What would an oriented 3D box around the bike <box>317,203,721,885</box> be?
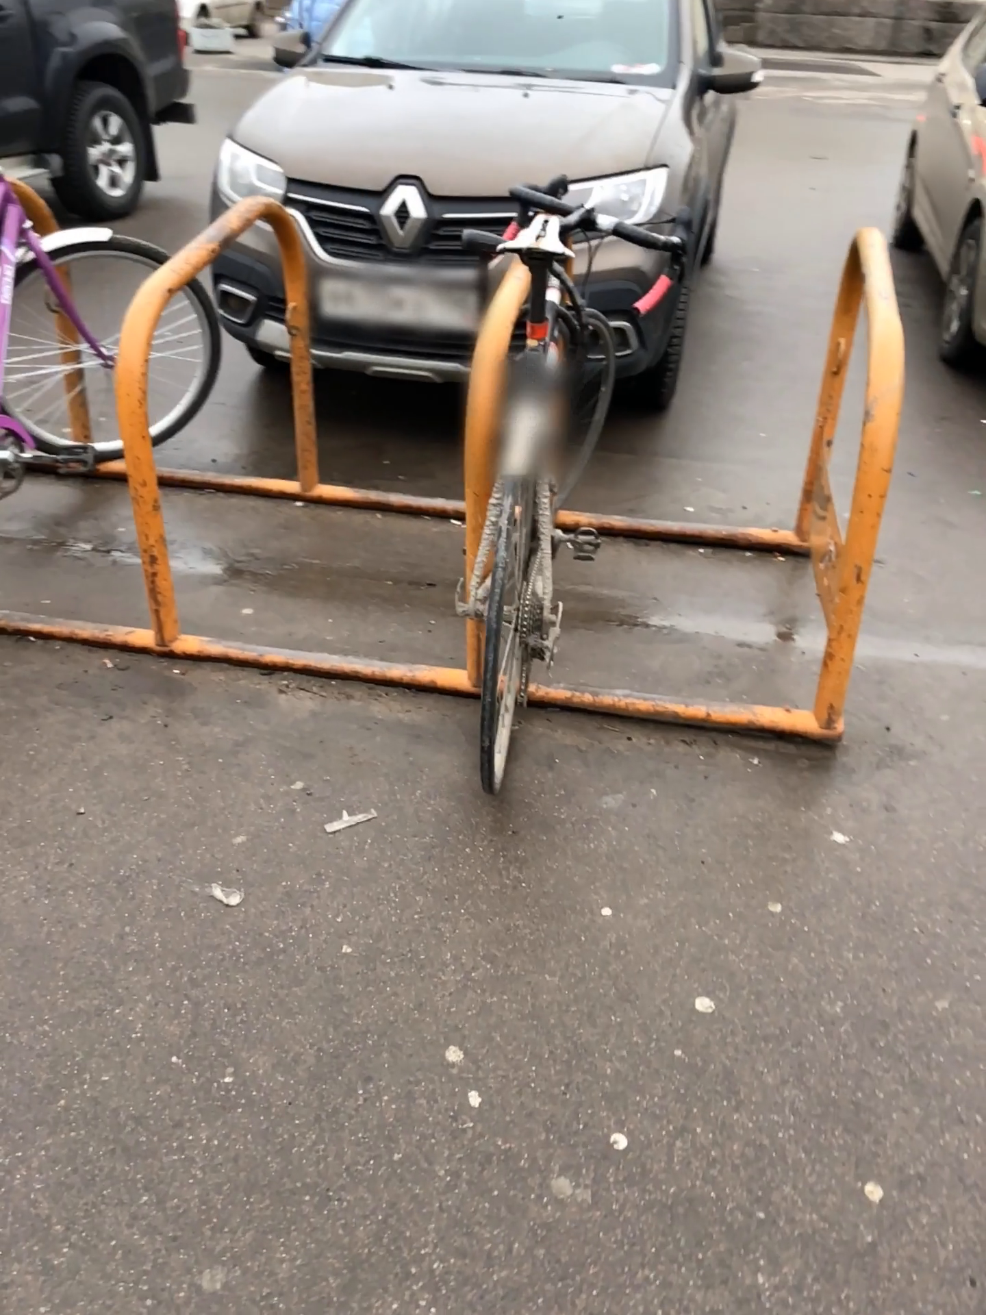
[{"bbox_3d":[0.149,-0.386,2.248,0.489,0.761,1.525,8,33,9],"label":"bike"}]
